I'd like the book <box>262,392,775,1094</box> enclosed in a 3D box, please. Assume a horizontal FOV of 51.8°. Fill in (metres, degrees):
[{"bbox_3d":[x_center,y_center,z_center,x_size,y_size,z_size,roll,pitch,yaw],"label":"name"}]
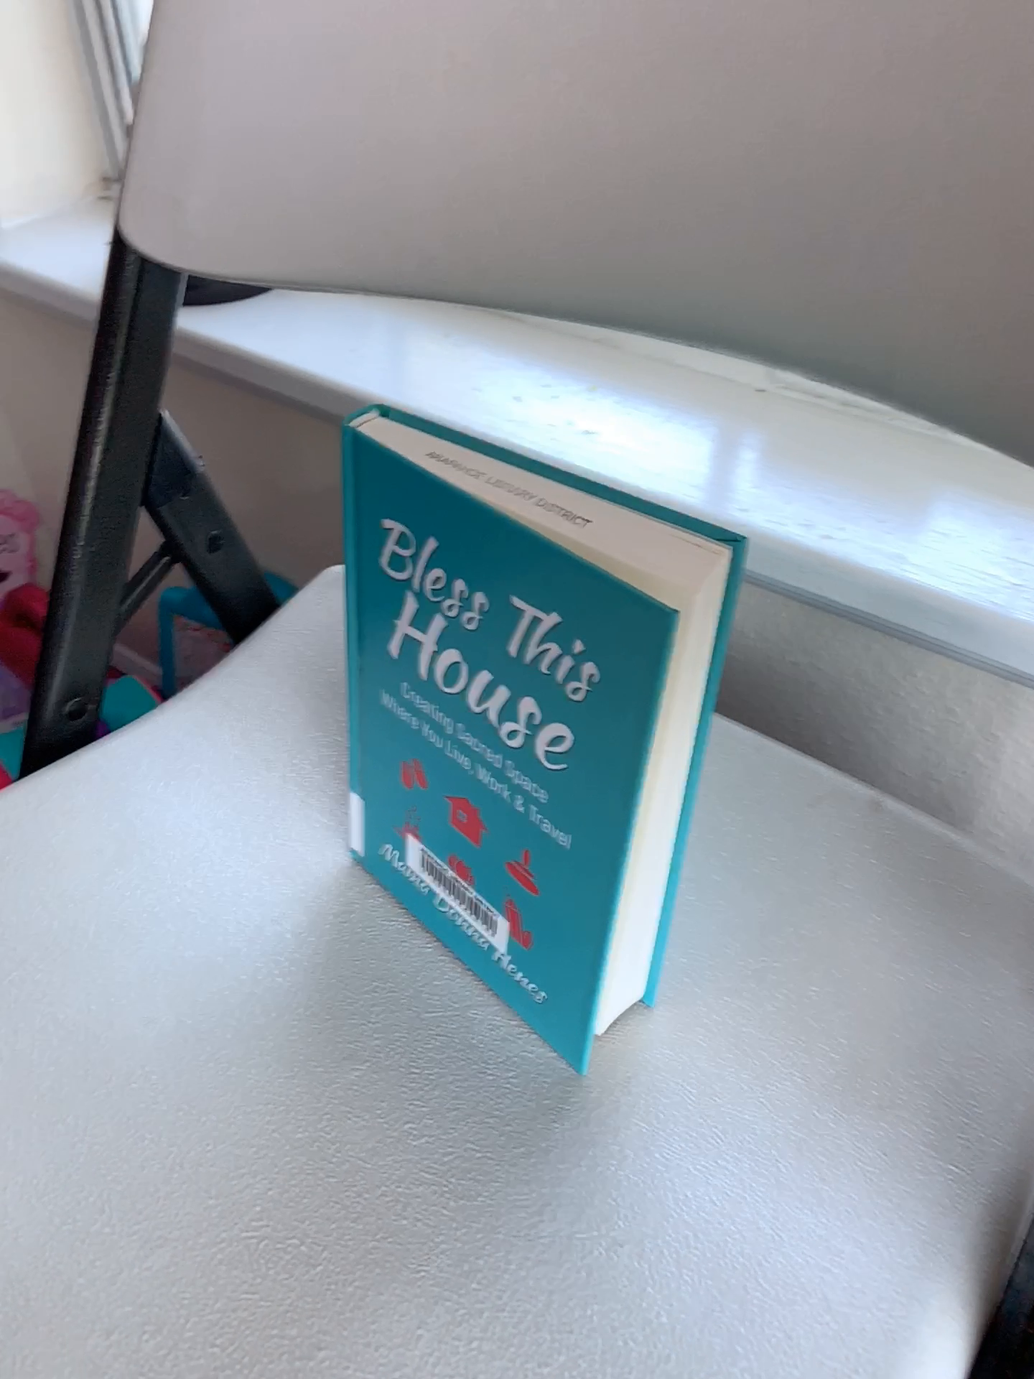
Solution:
[{"bbox_3d":[-0.010,0.017,0.343,0.142,0.181,0.051,28,41,30],"label":"book"}]
